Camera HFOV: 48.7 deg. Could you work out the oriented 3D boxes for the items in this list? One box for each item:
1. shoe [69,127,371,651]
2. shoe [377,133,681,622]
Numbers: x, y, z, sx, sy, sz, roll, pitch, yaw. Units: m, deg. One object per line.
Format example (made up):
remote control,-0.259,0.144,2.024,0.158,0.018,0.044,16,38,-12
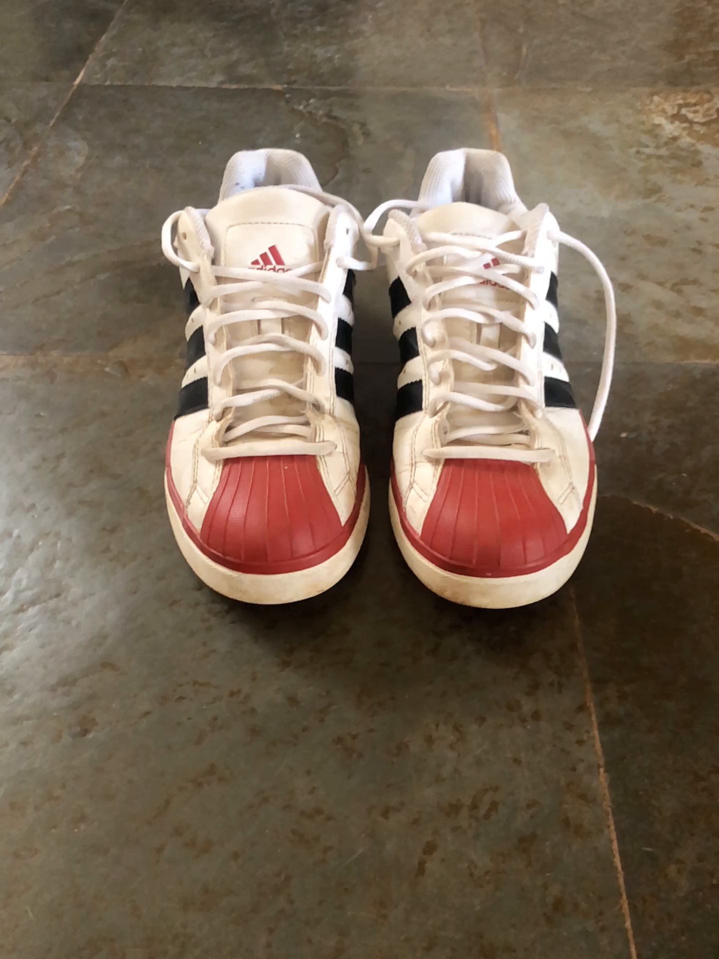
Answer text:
shoe,-0.056,-0.063,0.429,0.110,0.129,0.272,-2,49,-1
shoe,0.066,-0.070,0.428,0.110,0.109,0.272,0,49,0
